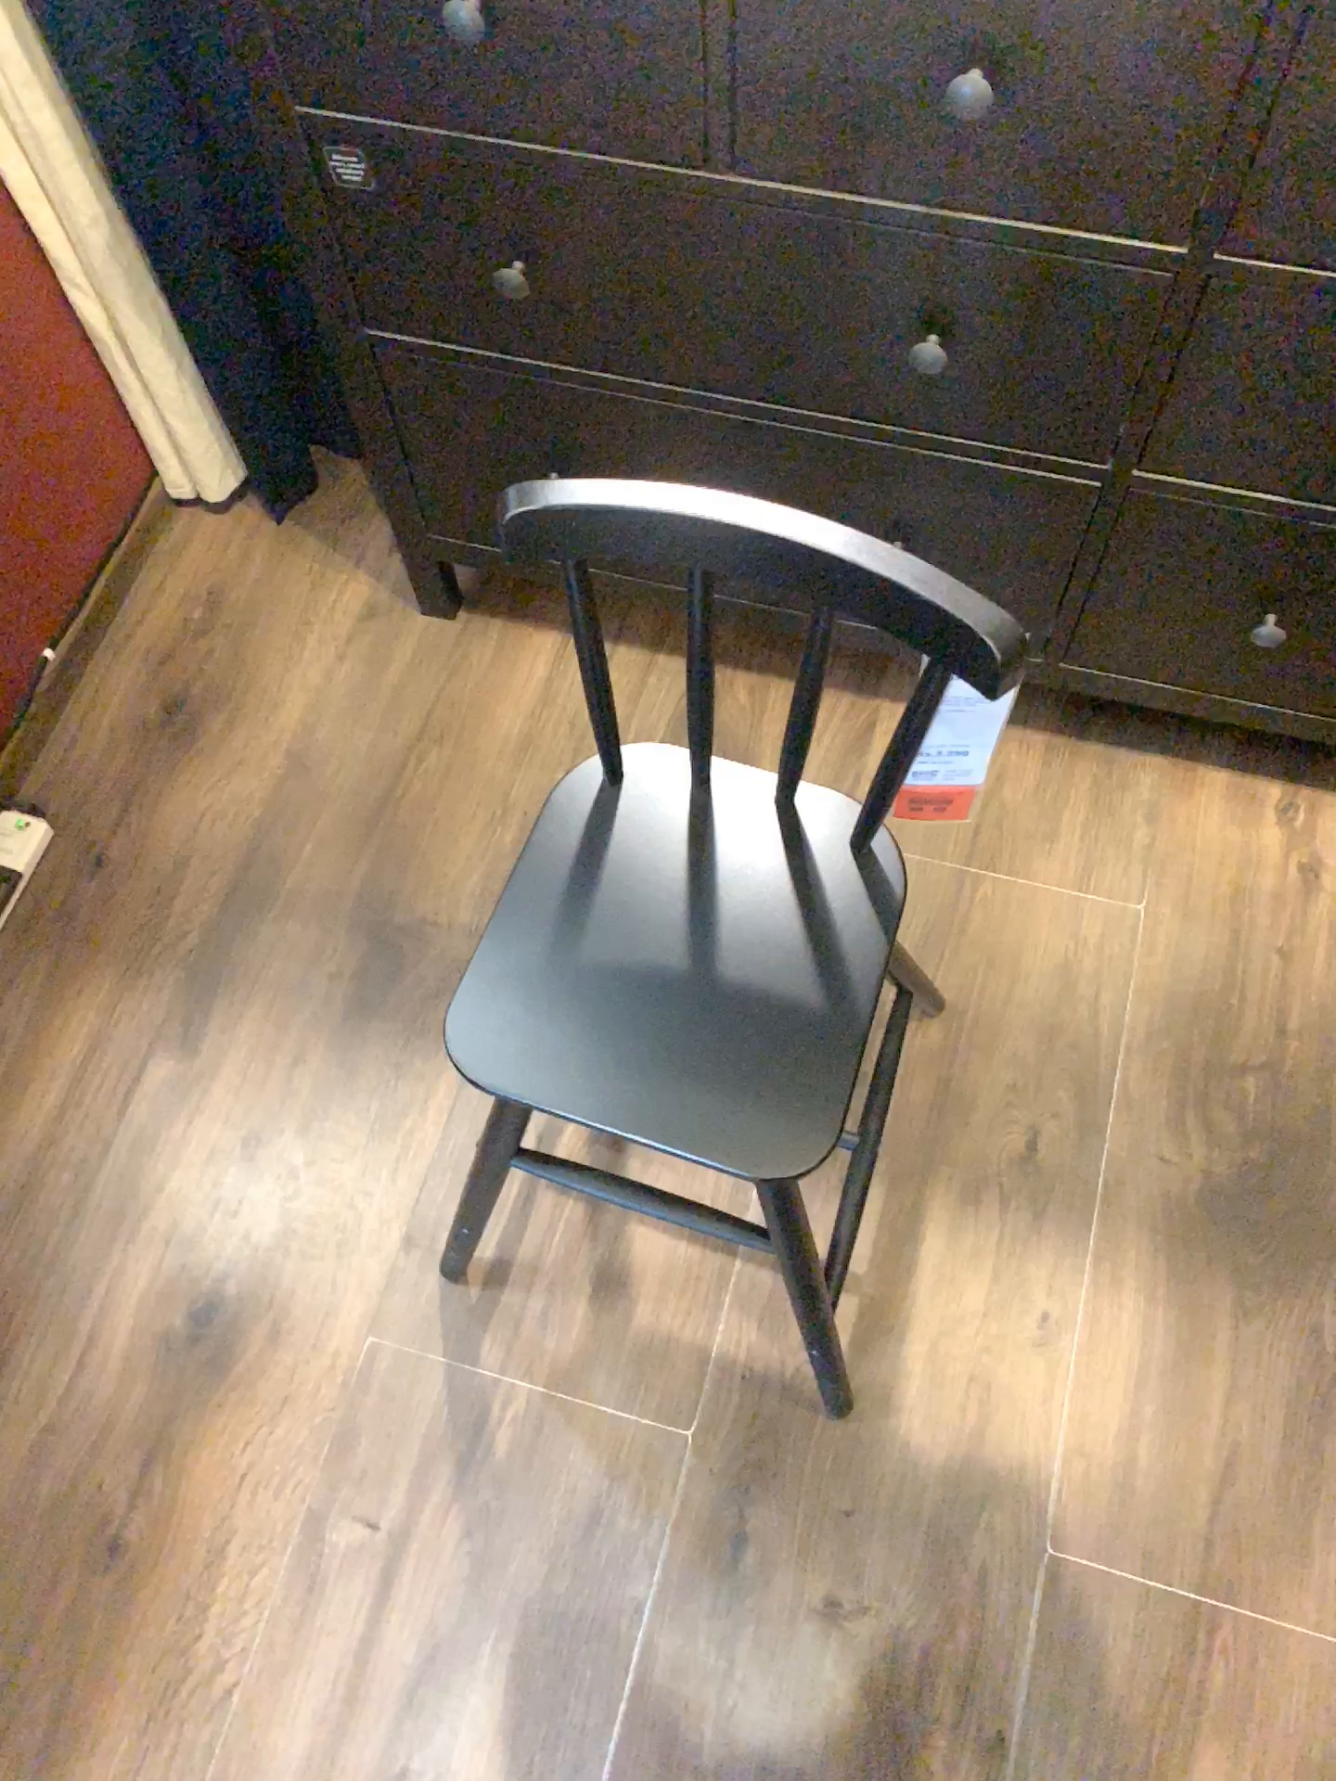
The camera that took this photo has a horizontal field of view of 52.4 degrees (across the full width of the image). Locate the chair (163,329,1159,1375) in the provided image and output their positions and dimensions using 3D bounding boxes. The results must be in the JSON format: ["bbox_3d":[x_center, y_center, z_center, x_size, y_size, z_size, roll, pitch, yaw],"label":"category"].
[{"bbox_3d":[0.034,0.065,1.165,0.450,0.849,0.470,15,67,10],"label":"chair"}]
